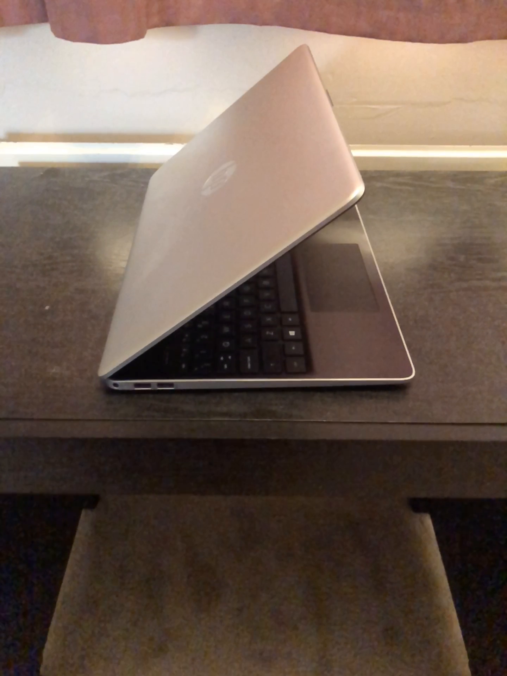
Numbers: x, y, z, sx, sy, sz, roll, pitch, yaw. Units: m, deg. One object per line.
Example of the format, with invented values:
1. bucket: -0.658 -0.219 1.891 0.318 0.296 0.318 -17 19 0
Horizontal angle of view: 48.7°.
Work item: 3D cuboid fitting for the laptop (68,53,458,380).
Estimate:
1. laptop: 0.005 -0.139 0.522 0.236 0.141 0.363 0 39 -3
